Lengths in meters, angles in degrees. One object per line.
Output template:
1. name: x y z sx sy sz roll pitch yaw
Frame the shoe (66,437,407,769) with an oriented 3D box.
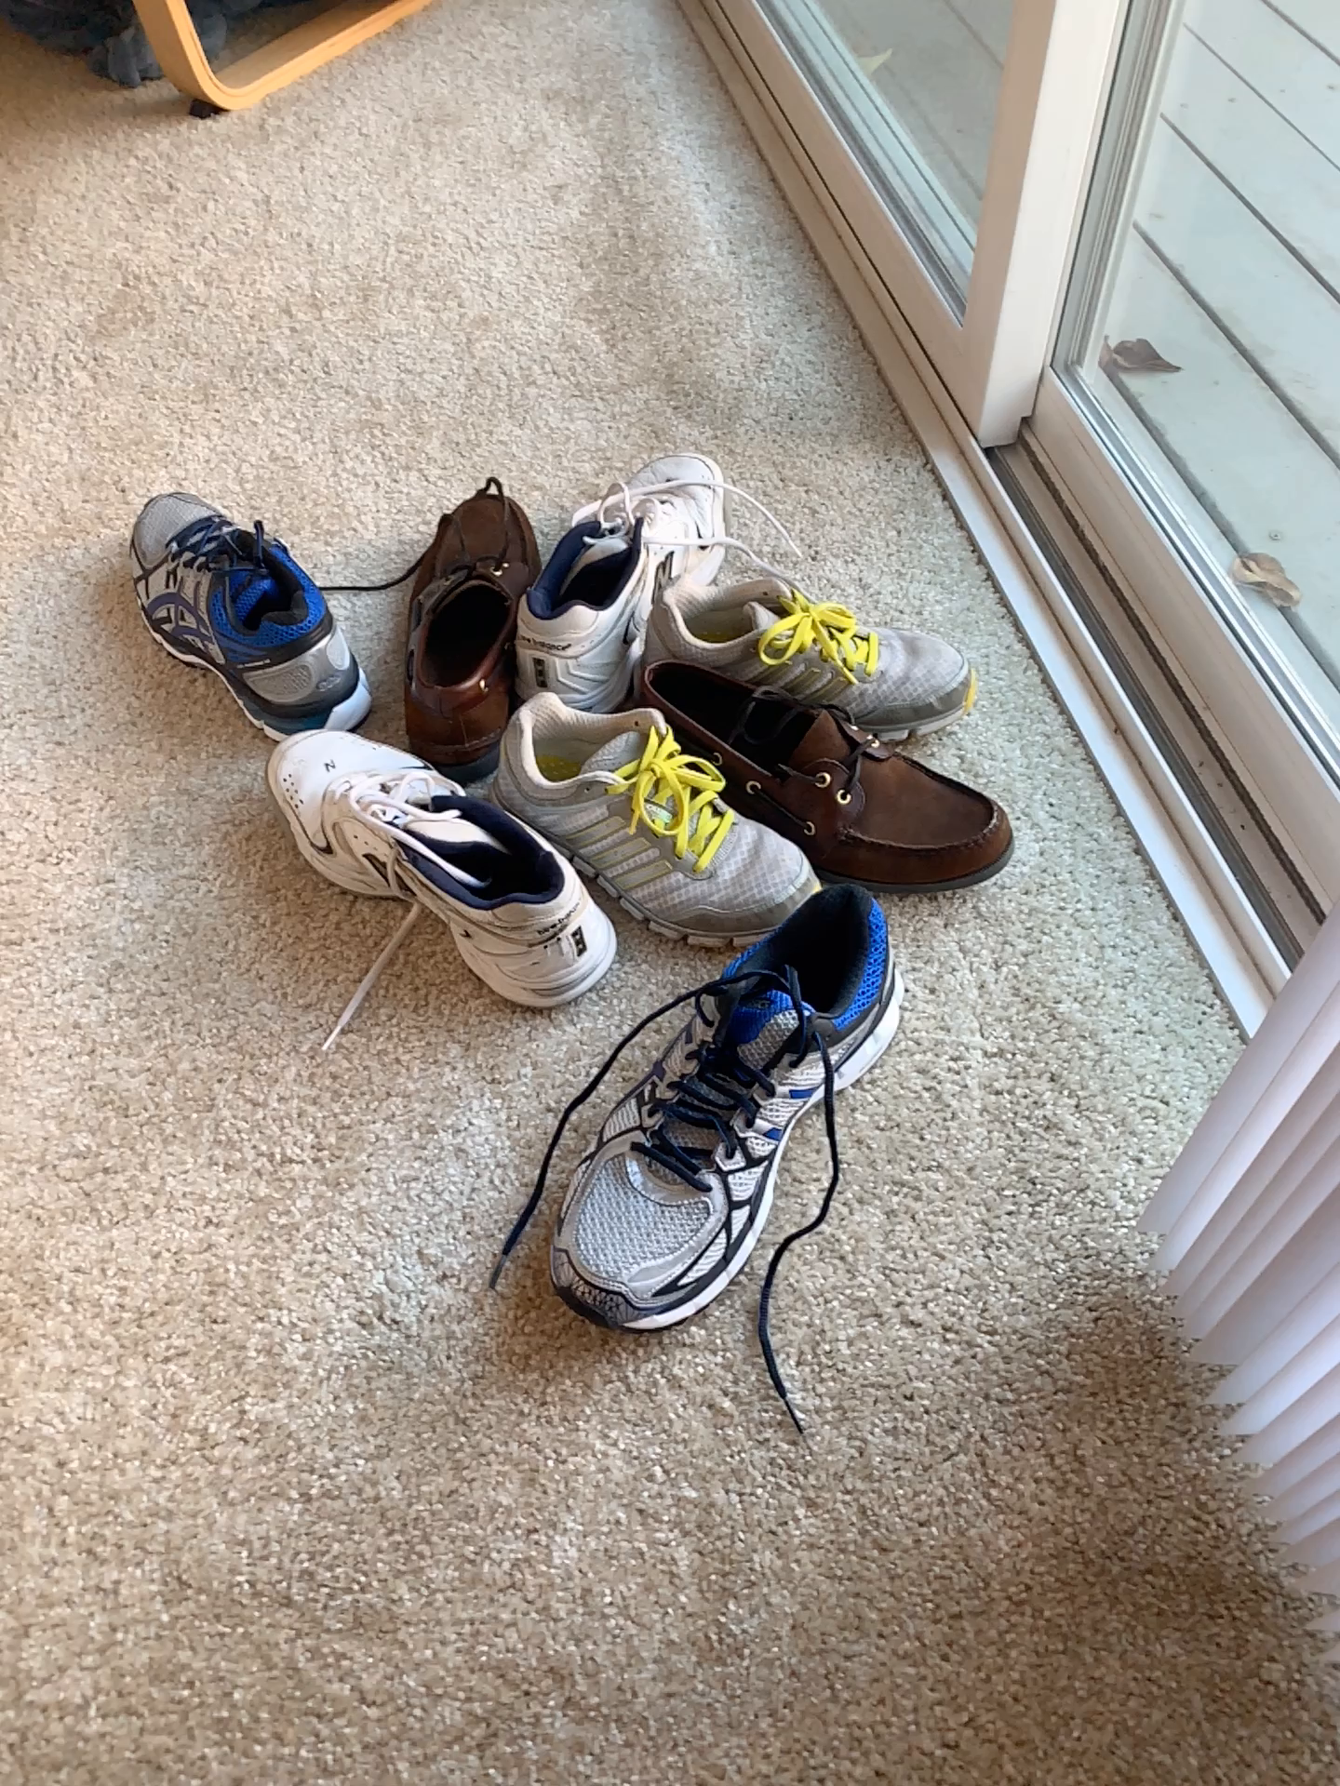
1. shoe: -0.326 -0.224 1.026 0.110 0.090 0.271 -35 58 -23

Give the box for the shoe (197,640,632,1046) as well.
1. shoe: -0.162 -0.037 0.871 0.281 0.110 0.090 33 60 25

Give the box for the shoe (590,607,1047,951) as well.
1. shoe: 0.092 -0.081 0.912 0.281 0.080 0.100 27 58 19

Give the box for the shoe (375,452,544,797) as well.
1. shoe: -0.155 -0.213 1.058 0.100 0.110 0.271 -2 51 -1

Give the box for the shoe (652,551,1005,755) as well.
1. shoe: 0.110 -0.170 0.958 0.230 0.060 0.100 9 53 7

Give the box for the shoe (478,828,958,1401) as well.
1. shoe: 0.036 0.115 0.770 0.110 0.110 0.291 29 60 21

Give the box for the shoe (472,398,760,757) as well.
1. shoe: -0.032 -0.245 1.035 0.100 0.110 0.271 19 54 15

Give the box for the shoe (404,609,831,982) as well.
1. shoe: -0.034 -0.064 0.840 0.241 0.090 0.100 31 59 21
